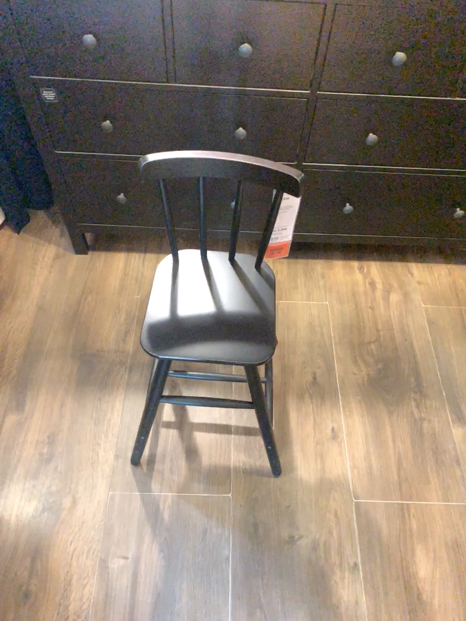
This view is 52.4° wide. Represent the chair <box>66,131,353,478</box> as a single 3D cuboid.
[{"bbox_3d":[-0.043,0.066,1.224,0.450,0.848,0.471,4,56,0],"label":"chair"}]
